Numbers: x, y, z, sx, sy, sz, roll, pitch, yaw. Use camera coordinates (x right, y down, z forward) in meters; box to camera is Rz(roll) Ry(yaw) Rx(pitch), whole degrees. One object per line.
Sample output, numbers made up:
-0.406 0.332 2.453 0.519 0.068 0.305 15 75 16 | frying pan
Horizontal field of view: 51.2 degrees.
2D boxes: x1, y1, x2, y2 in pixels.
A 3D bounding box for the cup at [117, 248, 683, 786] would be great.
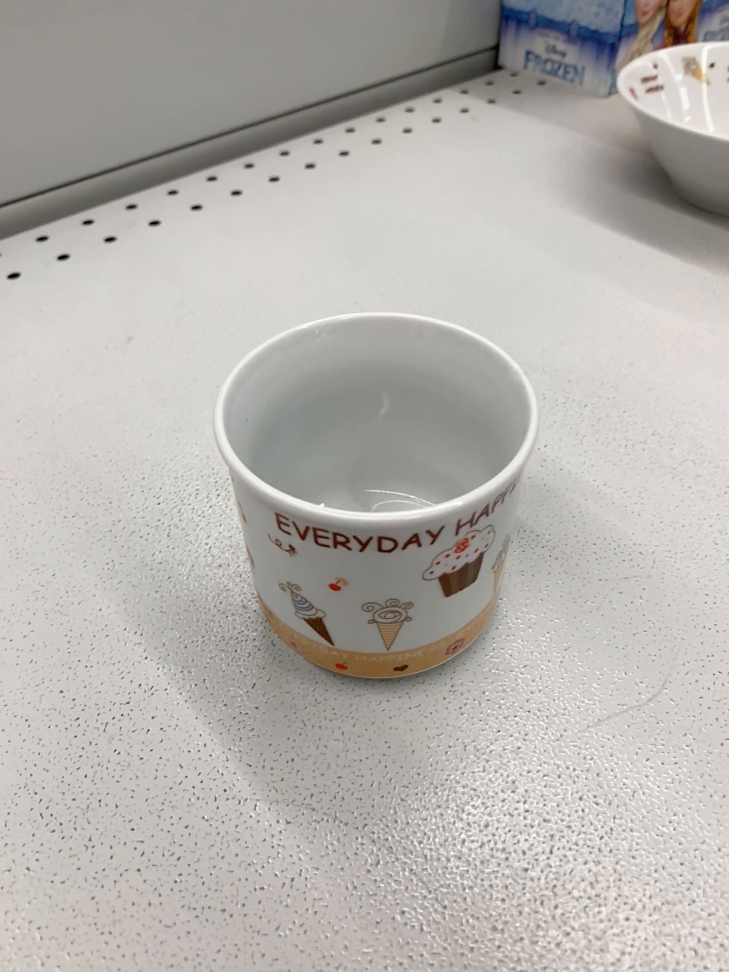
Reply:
0.010 0.001 0.204 0.109 0.069 0.079 -32 53 -26 | cup
